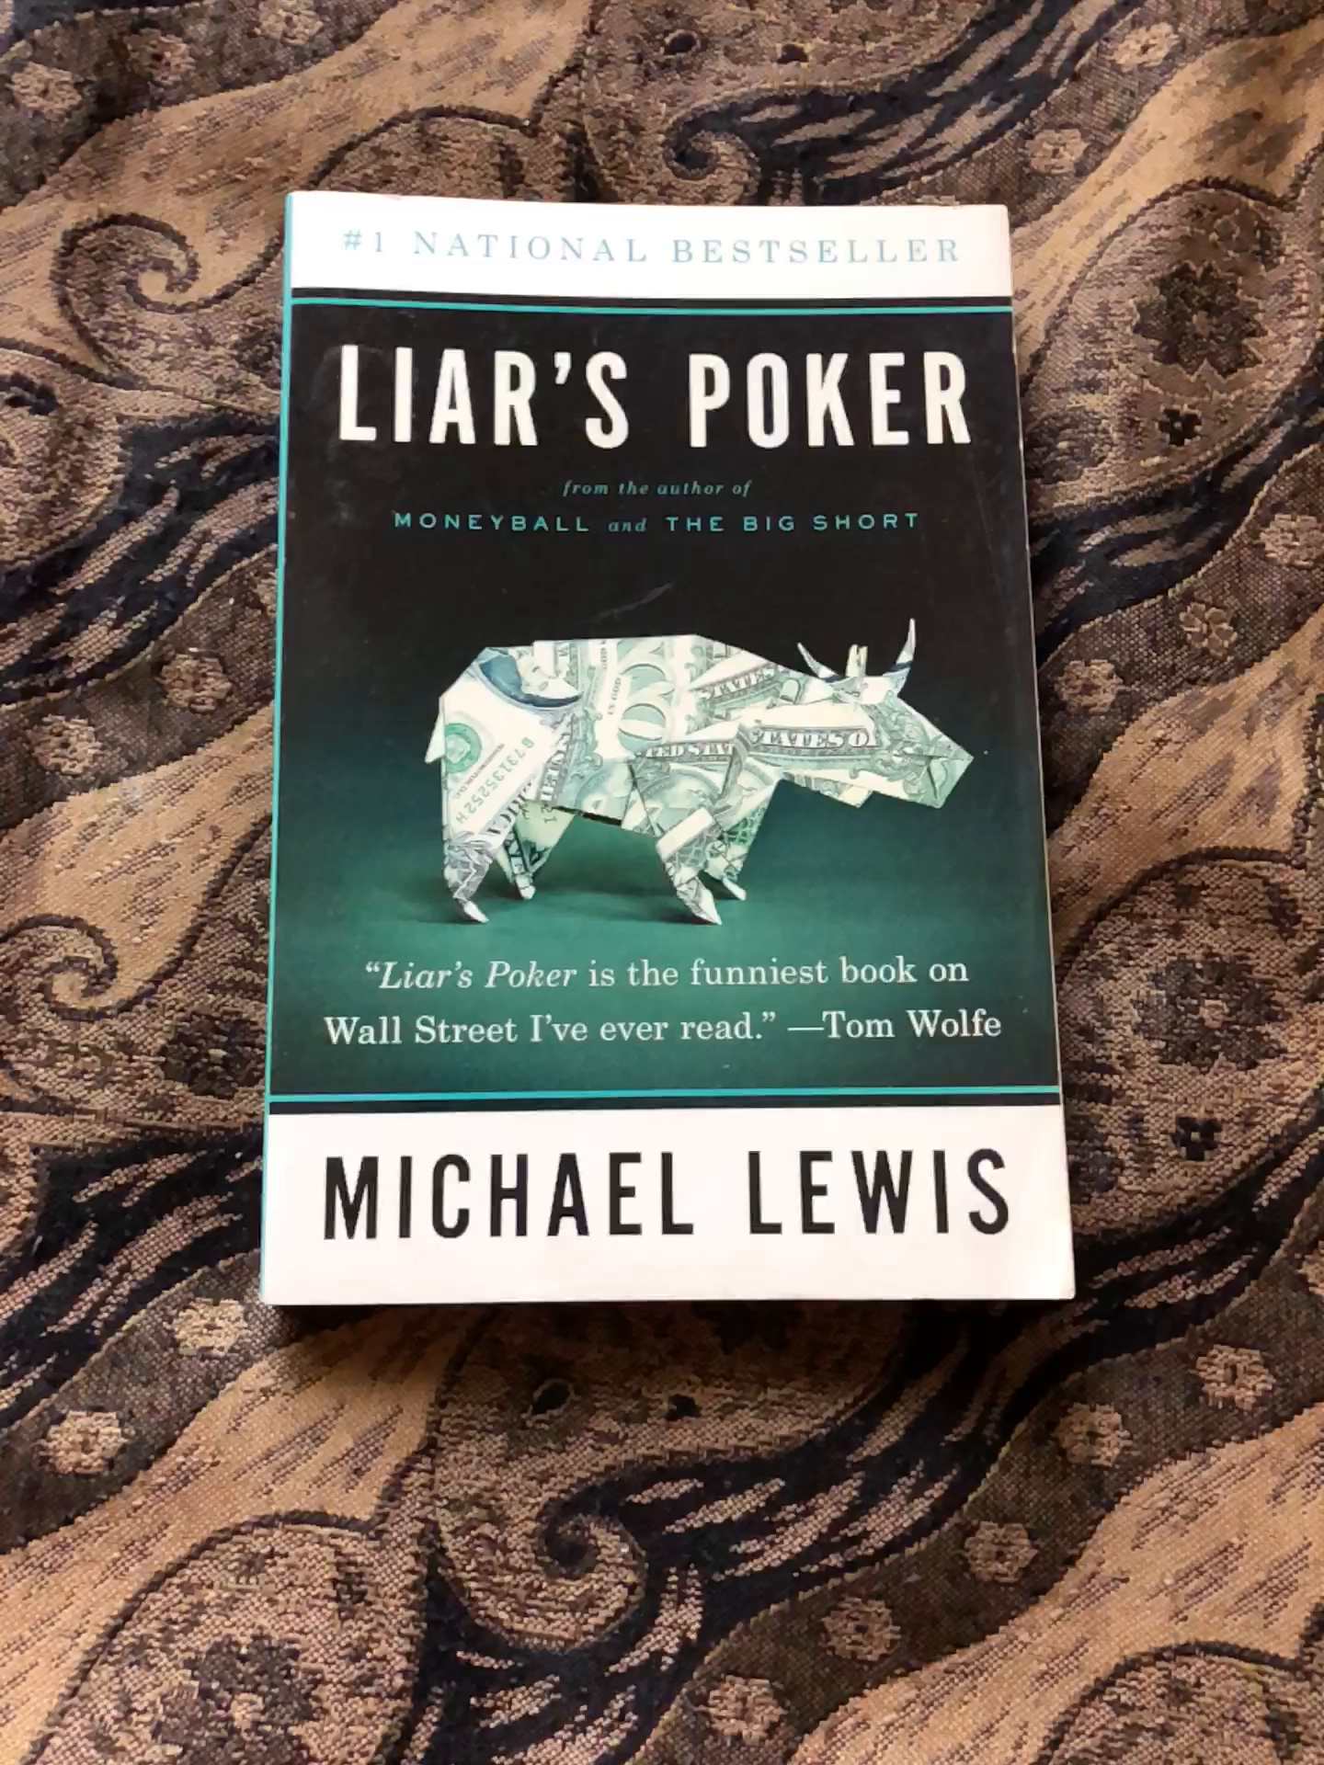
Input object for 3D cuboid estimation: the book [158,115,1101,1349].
[{"bbox_3d":[-0.003,-0.028,0.269,0.150,0.040,0.210,1,82,-1],"label":"book"}]
